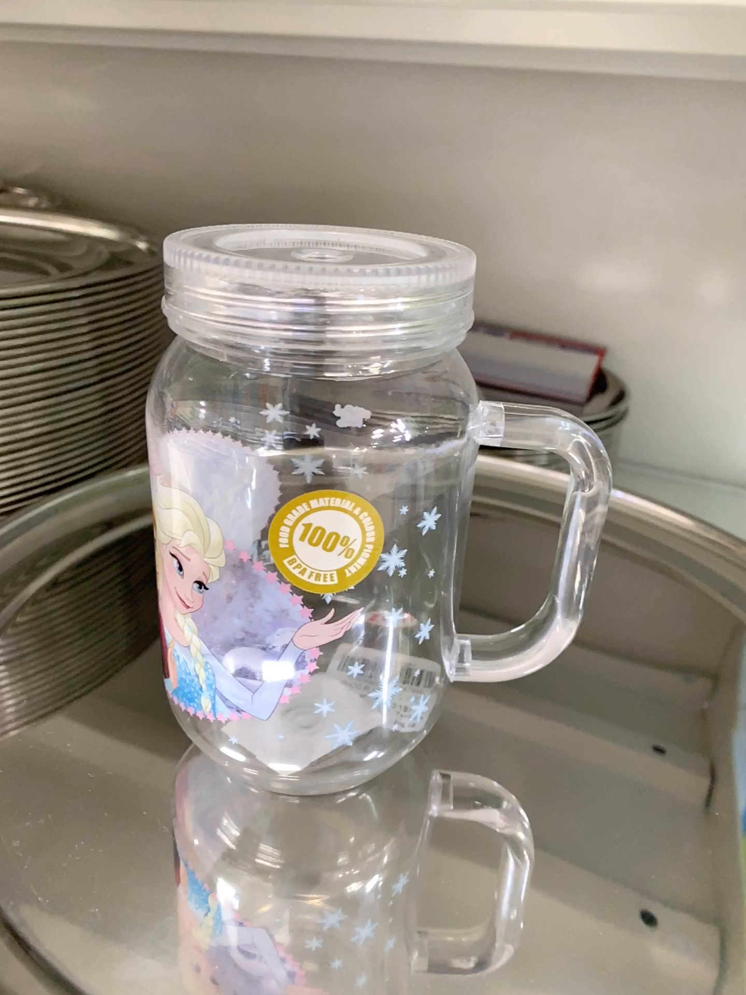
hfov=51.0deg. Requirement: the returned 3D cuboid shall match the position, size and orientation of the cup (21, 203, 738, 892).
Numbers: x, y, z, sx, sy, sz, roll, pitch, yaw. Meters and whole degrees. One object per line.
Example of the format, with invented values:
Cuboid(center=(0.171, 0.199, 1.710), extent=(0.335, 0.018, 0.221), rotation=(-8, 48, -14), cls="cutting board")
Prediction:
Cuboid(center=(-0.001, 0.006, 0.187), extent=(0.120, 0.129, 0.070), rotation=(8, 24, 7), cls="cup")
